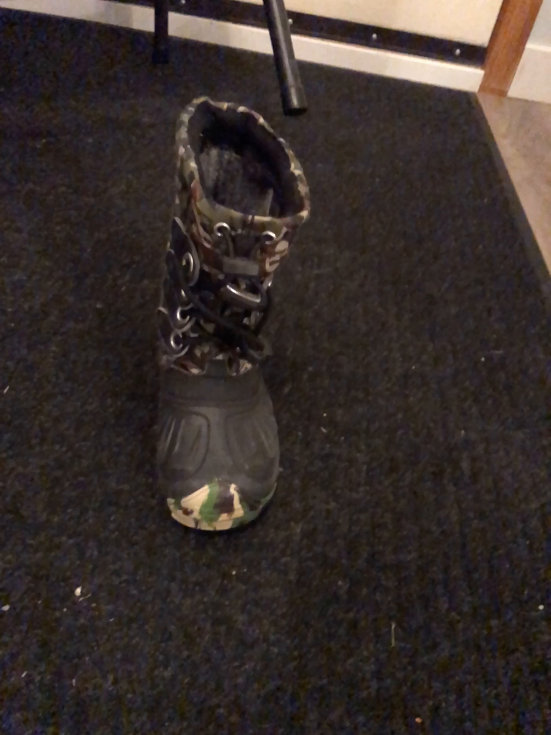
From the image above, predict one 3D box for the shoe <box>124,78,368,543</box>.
[{"bbox_3d":[-0.036,-0.035,0.392,0.100,0.209,0.201,1,44,-10],"label":"shoe"}]
